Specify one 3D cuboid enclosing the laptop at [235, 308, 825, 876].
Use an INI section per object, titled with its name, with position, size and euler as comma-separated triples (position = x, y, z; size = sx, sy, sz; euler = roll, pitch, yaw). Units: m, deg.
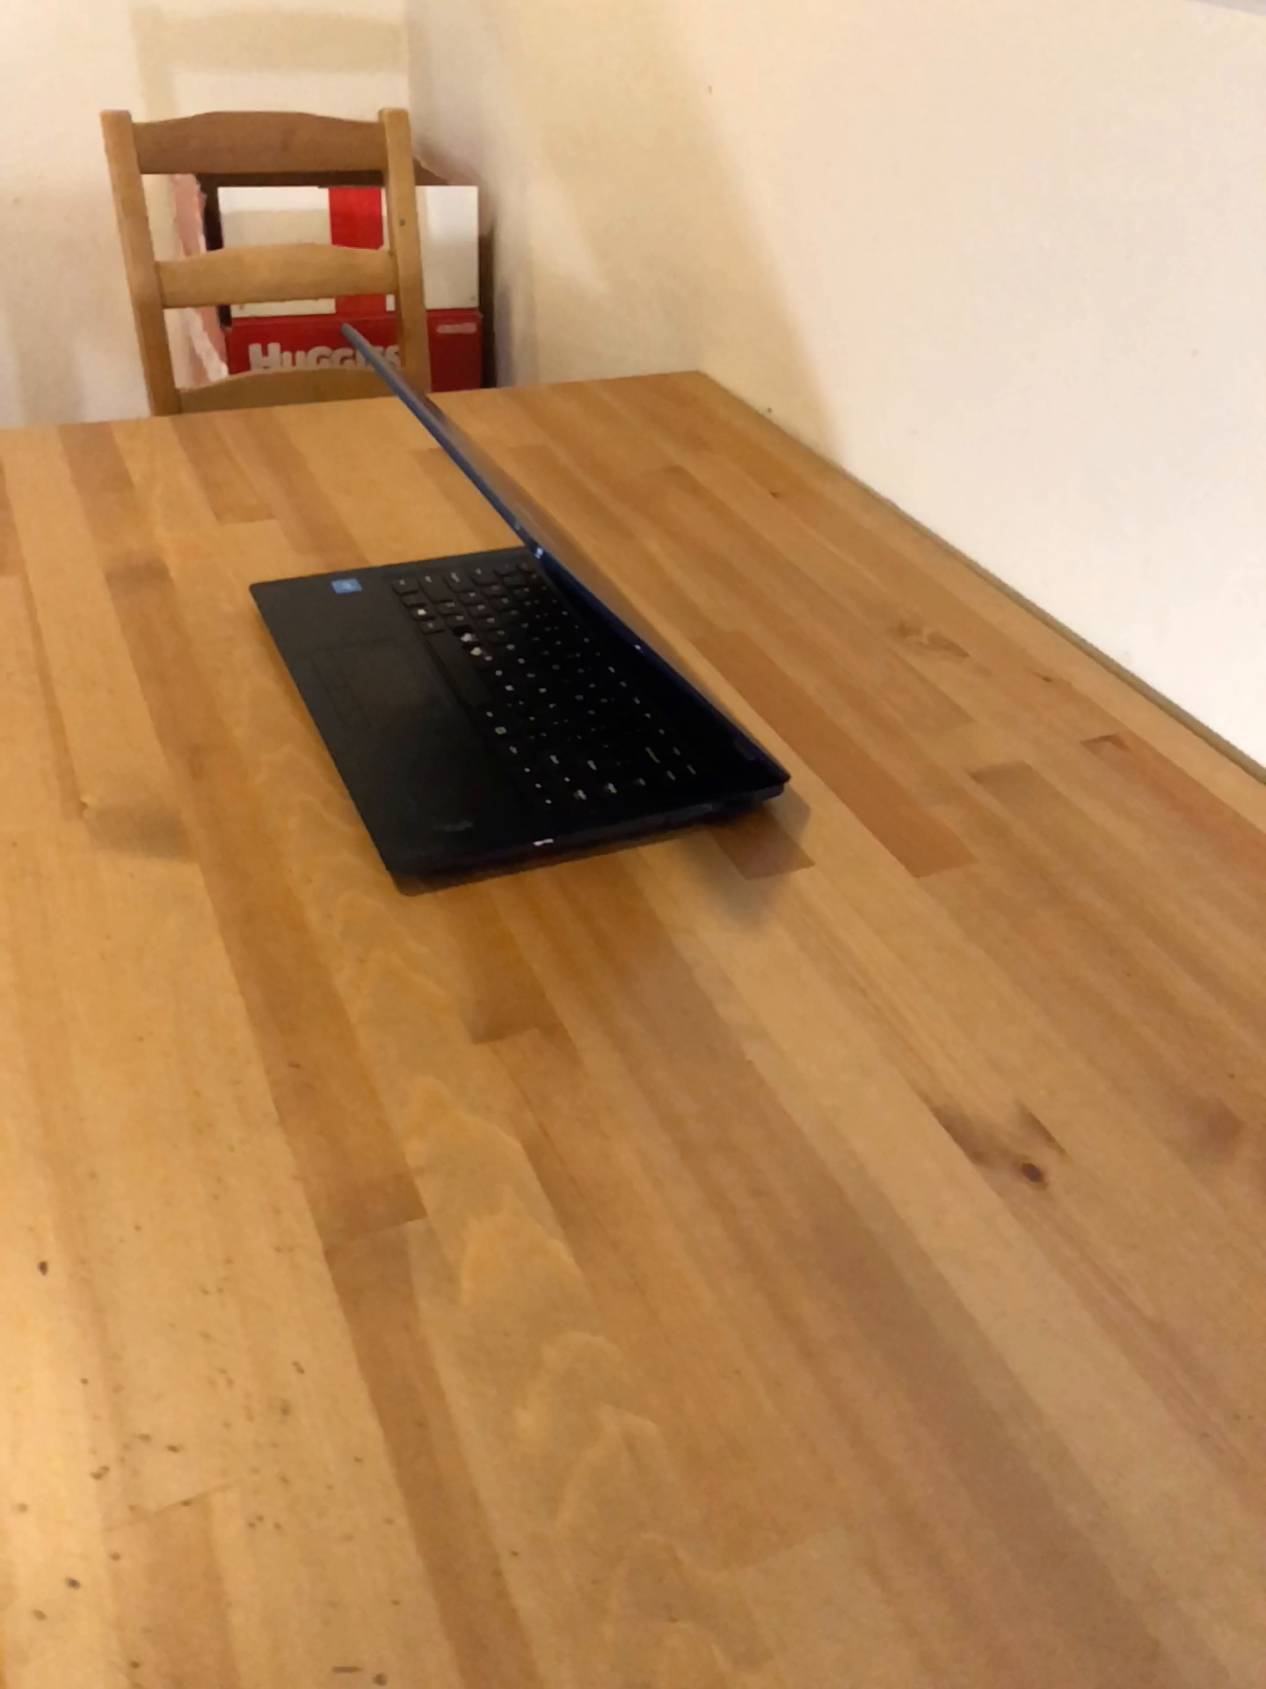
[laptop]
position = -0.075, -0.164, 0.789
size = 0.216, 0.161, 0.318
euler = -13, 41, -20
